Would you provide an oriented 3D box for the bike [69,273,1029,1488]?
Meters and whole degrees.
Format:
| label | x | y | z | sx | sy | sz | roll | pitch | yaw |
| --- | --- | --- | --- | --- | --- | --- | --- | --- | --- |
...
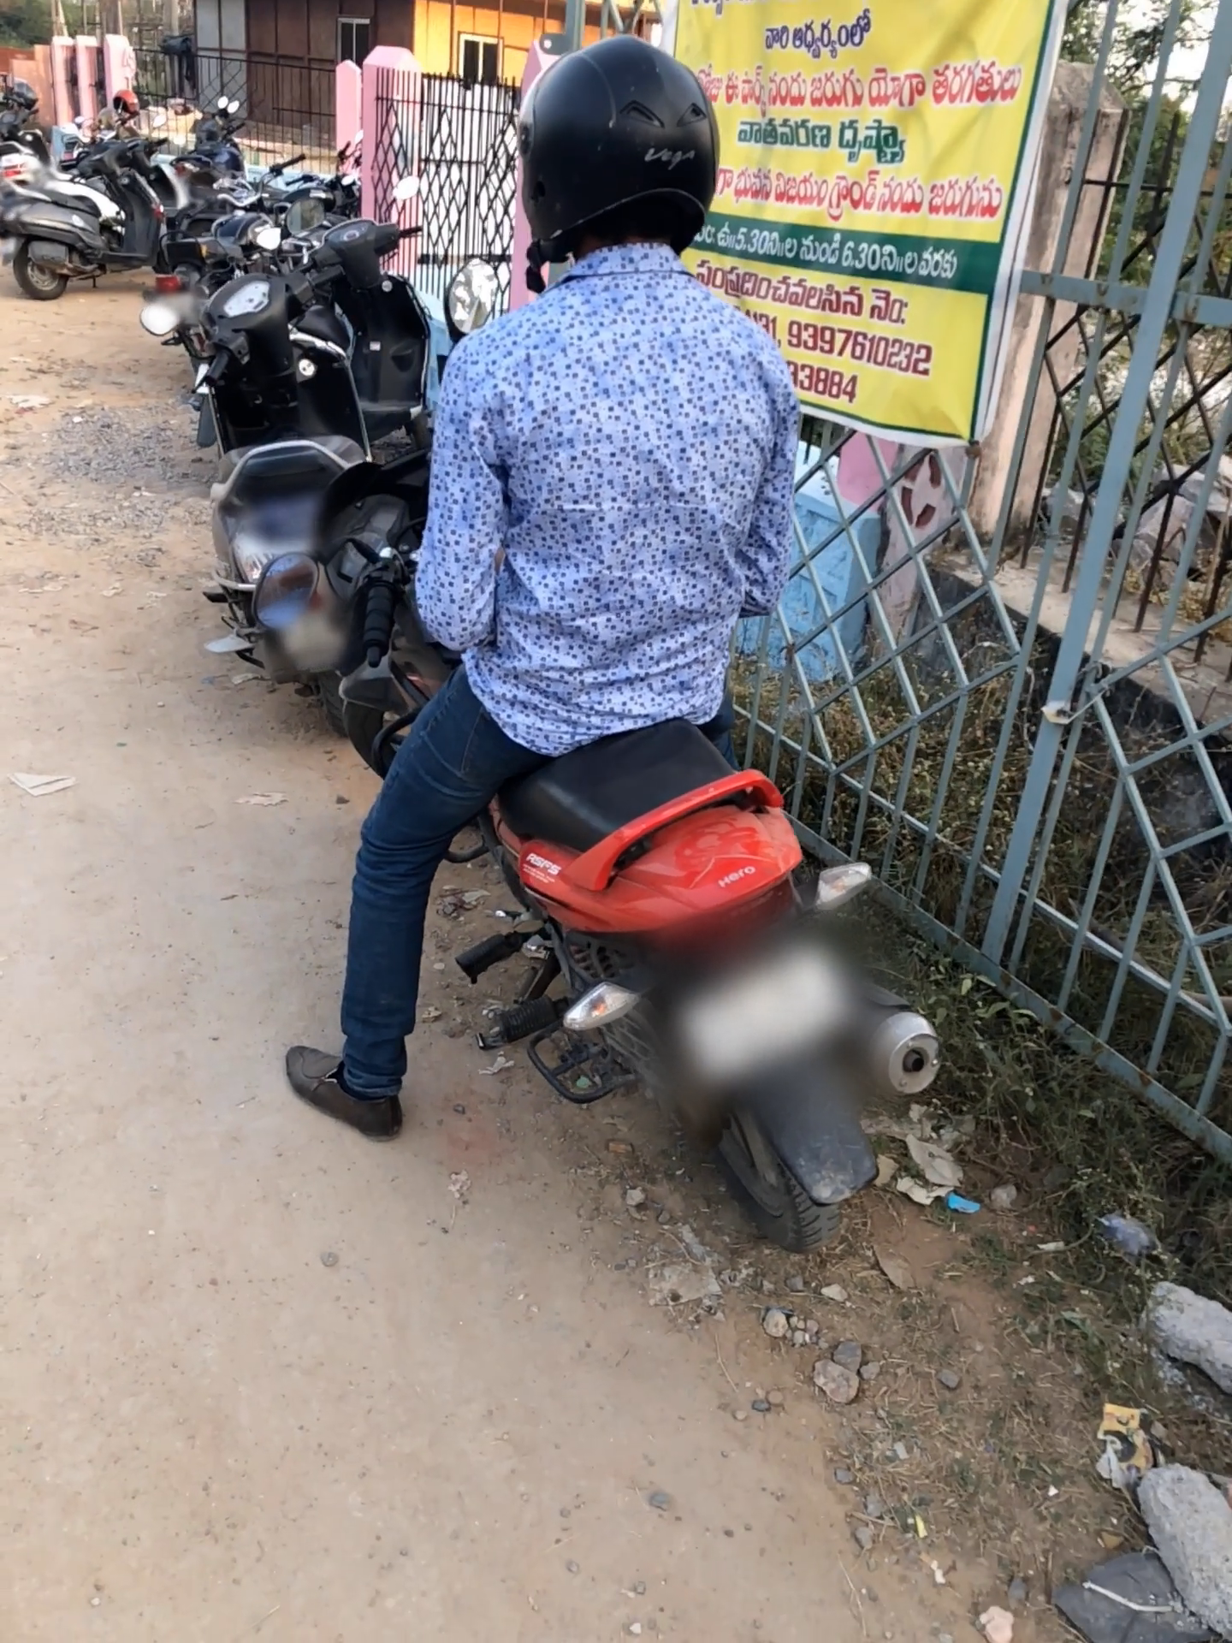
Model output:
| label | x | y | z | sx | sy | sz | roll | pitch | yaw |
| --- | --- | --- | --- | --- | --- | --- | --- | --- | --- |
| bike | -0.318 | -0.102 | 2.189 | 0.583 | 1.176 | 1.694 | -12 | 33 | -31 |
